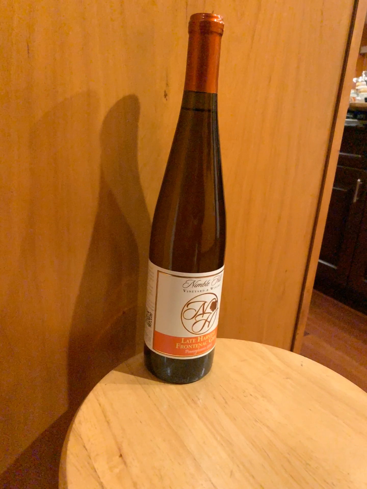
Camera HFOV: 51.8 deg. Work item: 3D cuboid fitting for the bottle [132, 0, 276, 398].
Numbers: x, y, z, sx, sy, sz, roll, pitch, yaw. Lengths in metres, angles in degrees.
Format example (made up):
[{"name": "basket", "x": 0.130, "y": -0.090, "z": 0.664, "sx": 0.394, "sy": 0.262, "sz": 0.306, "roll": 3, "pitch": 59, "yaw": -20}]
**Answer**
[{"name": "bottle", "x": 0.009, "y": -0.029, "z": 0.342, "sx": 0.080, "sy": 0.329, "sz": 0.060, "roll": -7, "pitch": 21, "yaw": -33}]
